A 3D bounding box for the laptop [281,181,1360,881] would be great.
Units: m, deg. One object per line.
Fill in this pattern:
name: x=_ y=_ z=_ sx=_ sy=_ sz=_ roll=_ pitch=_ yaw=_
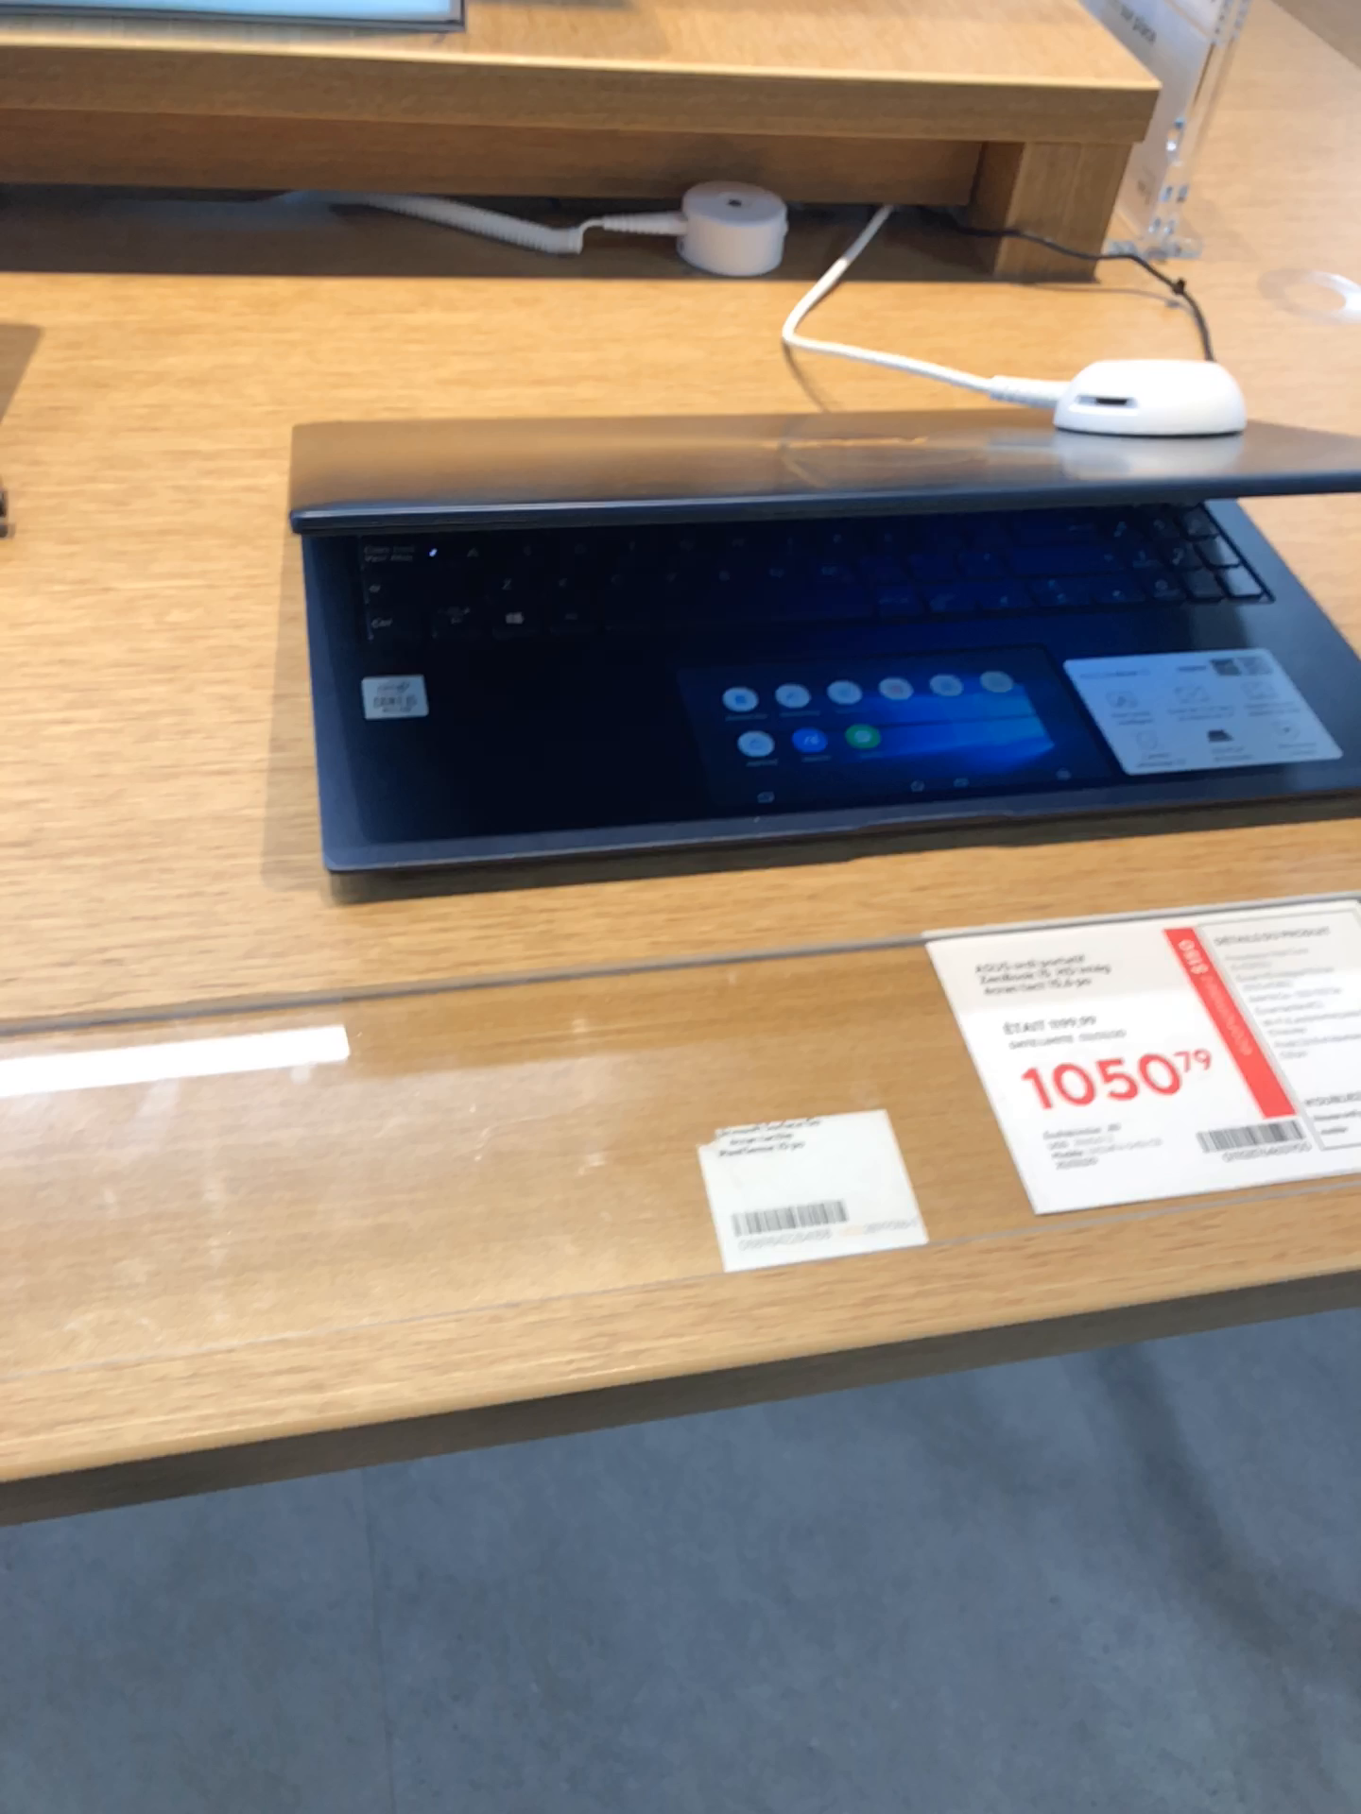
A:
laptop: x=0.062 y=-0.132 z=0.477 sx=0.352 sy=0.098 sz=0.209 roll=-5 pitch=48 yaw=-13
